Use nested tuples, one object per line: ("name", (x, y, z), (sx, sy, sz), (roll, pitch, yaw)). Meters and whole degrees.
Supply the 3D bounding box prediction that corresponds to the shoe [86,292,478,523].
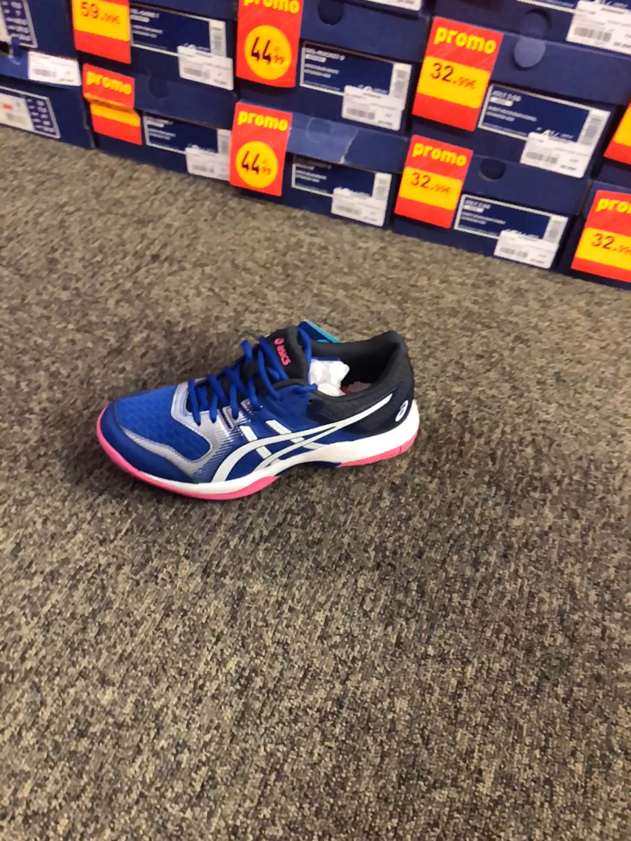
("shoe", (-0.031, -0.015, 0.552), (0.270, 0.099, 0.126), (-5, 50, -10))
